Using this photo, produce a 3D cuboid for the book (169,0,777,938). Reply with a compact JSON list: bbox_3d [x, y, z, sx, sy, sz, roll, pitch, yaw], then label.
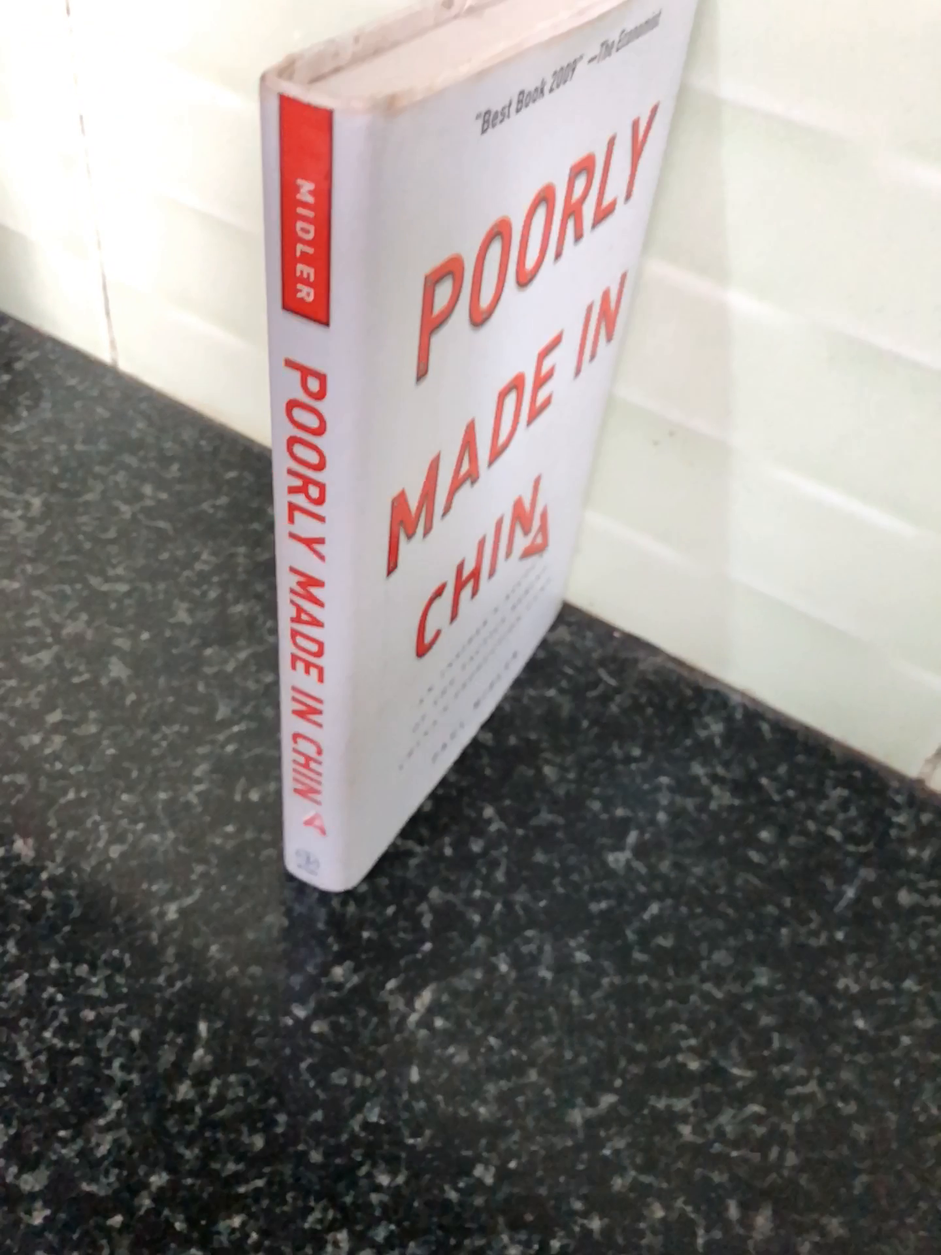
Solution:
[{"bbox_3d":[0.003,-0.051,0.295,0.040,0.219,0.191,26,47,15],"label":"book"}]
